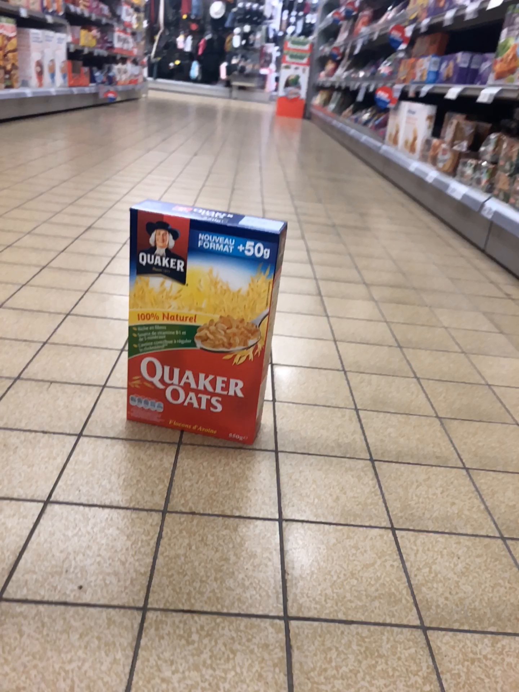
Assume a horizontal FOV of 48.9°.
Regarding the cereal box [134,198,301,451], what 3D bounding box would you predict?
[{"bbox_3d":[-0.047,-0.019,0.575,0.140,0.229,0.050,11,24,9],"label":"cereal box"}]
